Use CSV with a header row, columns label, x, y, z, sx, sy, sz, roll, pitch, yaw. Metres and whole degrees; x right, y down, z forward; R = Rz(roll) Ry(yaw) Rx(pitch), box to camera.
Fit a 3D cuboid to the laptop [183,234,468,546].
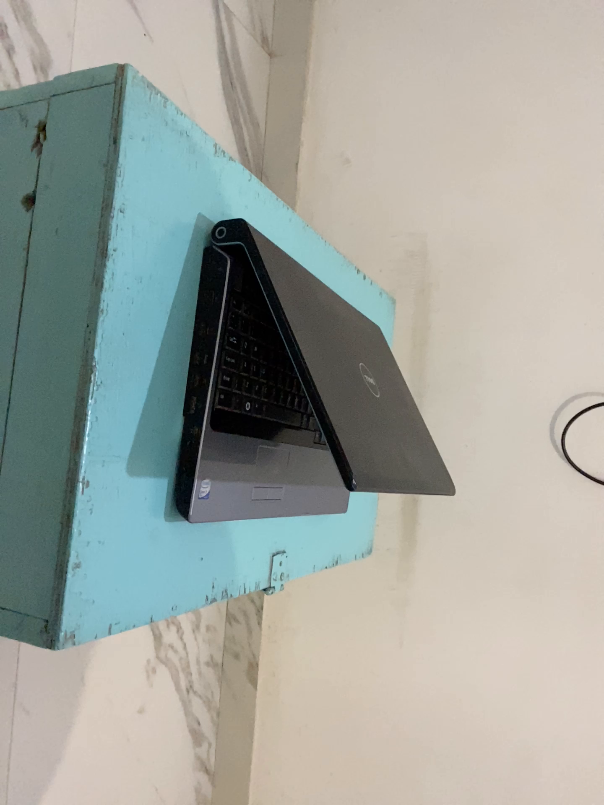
label,x,y,z,sx,sy,sz,roll,pitch,yaw
laptop,0.062,0.006,0.712,0.389,0.152,0.261,16,80,-63
